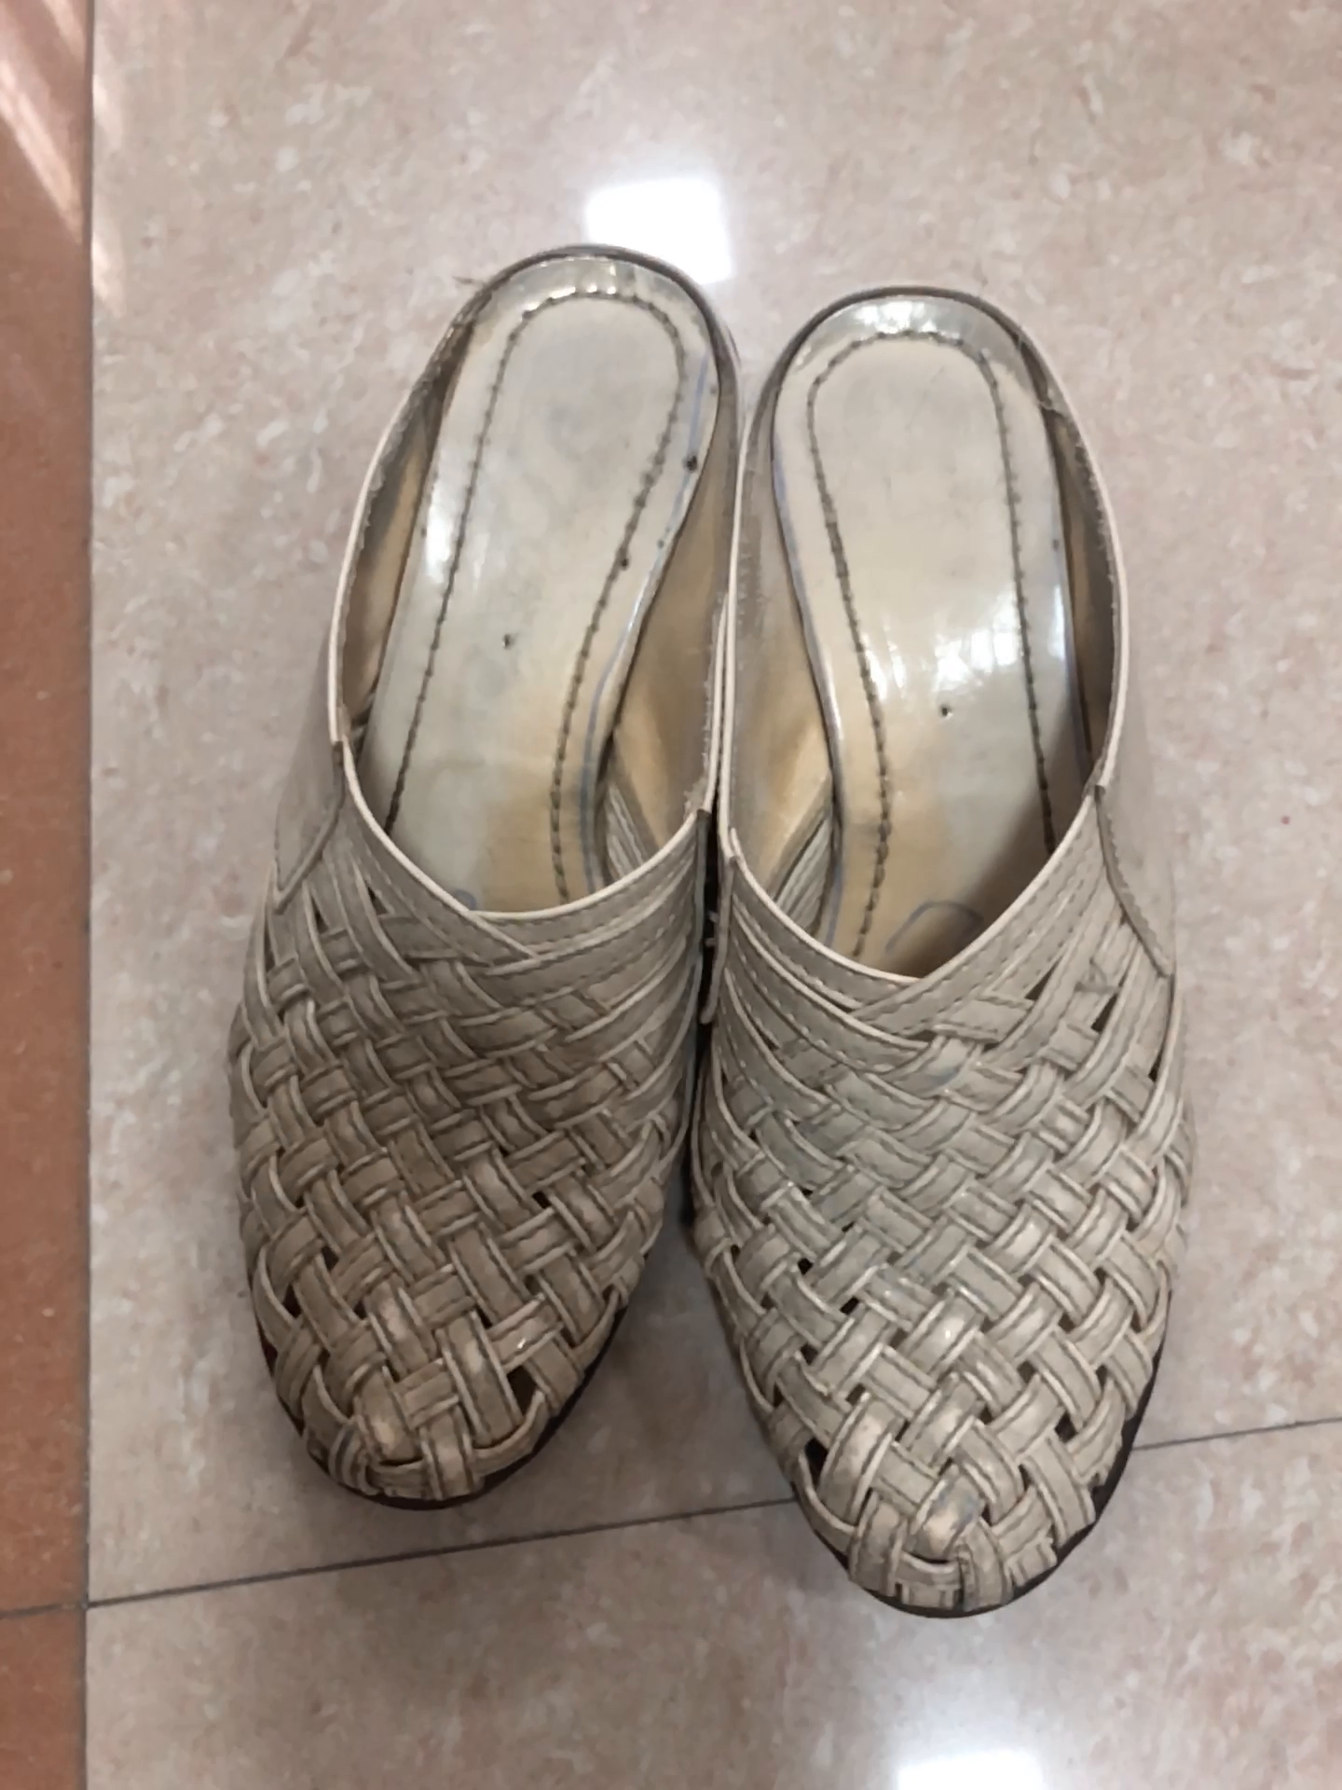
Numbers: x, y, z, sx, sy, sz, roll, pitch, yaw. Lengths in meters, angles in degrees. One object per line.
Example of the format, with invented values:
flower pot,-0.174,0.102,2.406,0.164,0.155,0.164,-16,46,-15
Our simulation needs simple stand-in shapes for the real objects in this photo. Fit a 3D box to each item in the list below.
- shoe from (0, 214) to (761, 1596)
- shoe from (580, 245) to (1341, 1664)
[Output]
shoe,-0.047,-0.004,0.281,0.100,0.085,0.225,7,70,6
shoe,0.040,0.006,0.268,0.100,0.085,0.221,-3,69,2
